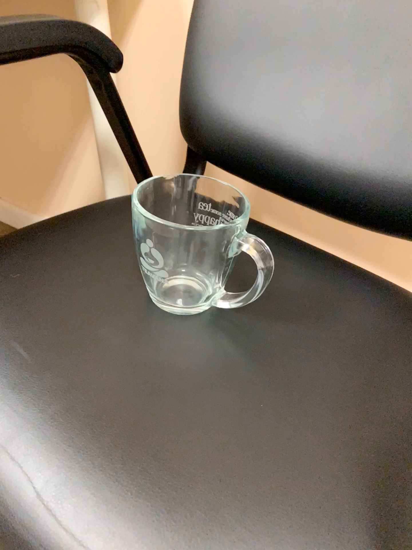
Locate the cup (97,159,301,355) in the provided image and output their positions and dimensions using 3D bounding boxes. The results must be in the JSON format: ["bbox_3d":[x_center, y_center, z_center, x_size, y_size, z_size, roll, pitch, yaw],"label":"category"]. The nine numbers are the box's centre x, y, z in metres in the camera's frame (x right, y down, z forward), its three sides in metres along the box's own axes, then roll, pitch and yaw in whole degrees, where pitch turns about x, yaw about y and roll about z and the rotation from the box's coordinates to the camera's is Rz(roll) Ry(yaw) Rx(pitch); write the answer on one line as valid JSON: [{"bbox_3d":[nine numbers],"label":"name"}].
[{"bbox_3d":[-0.009,-0.024,0.376,0.140,0.100,0.096,24,38,22],"label":"cup"}]
